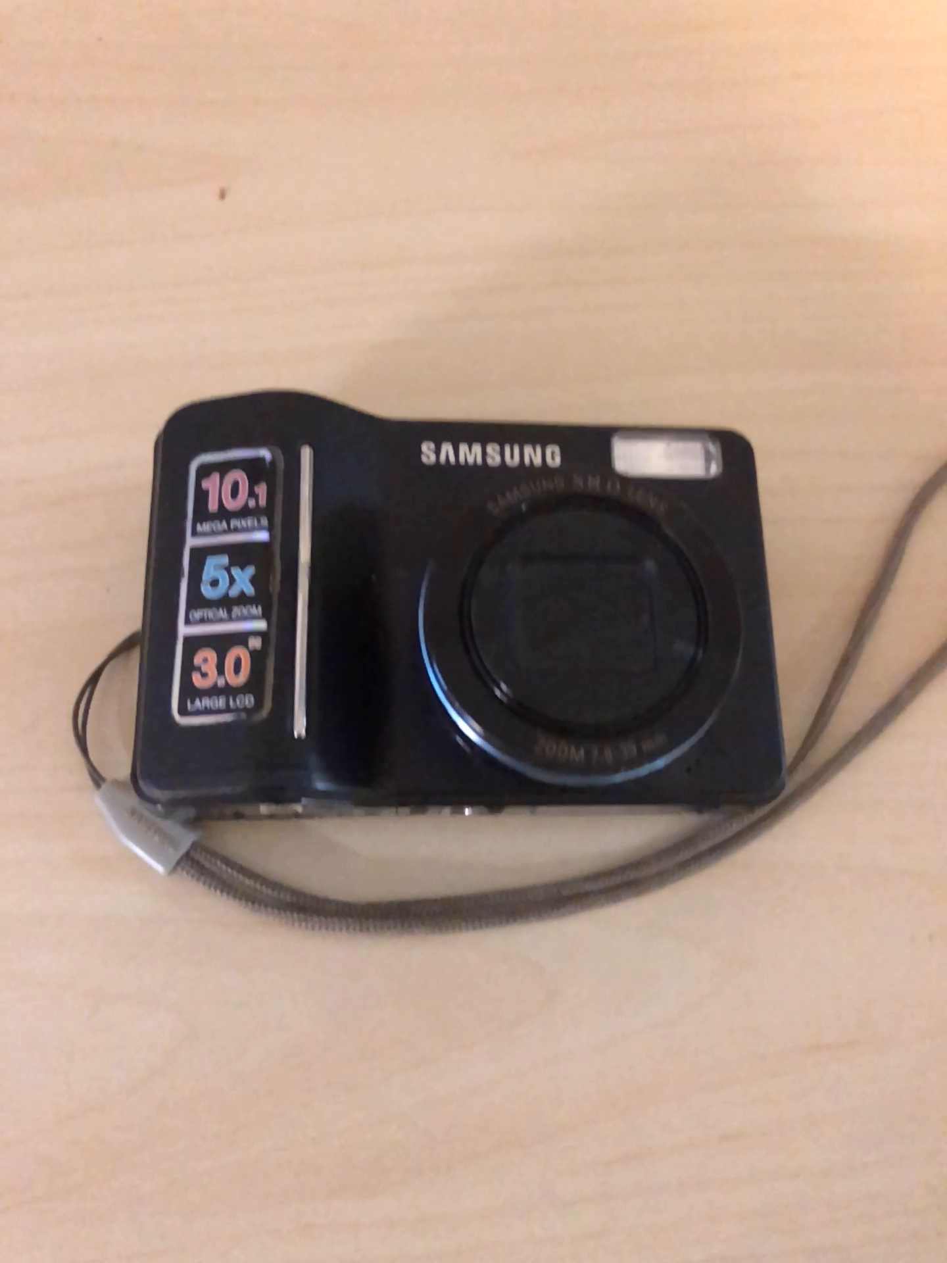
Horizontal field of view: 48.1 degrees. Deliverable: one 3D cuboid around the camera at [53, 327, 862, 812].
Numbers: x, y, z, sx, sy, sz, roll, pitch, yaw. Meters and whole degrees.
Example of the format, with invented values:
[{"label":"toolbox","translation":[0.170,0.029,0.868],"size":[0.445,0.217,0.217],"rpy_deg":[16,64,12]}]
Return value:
[{"label":"camera","translation":[-0.002,-0.009,0.169],"size":[0.110,0.030,0.070],"rpy_deg":[0,72,-3]}]
